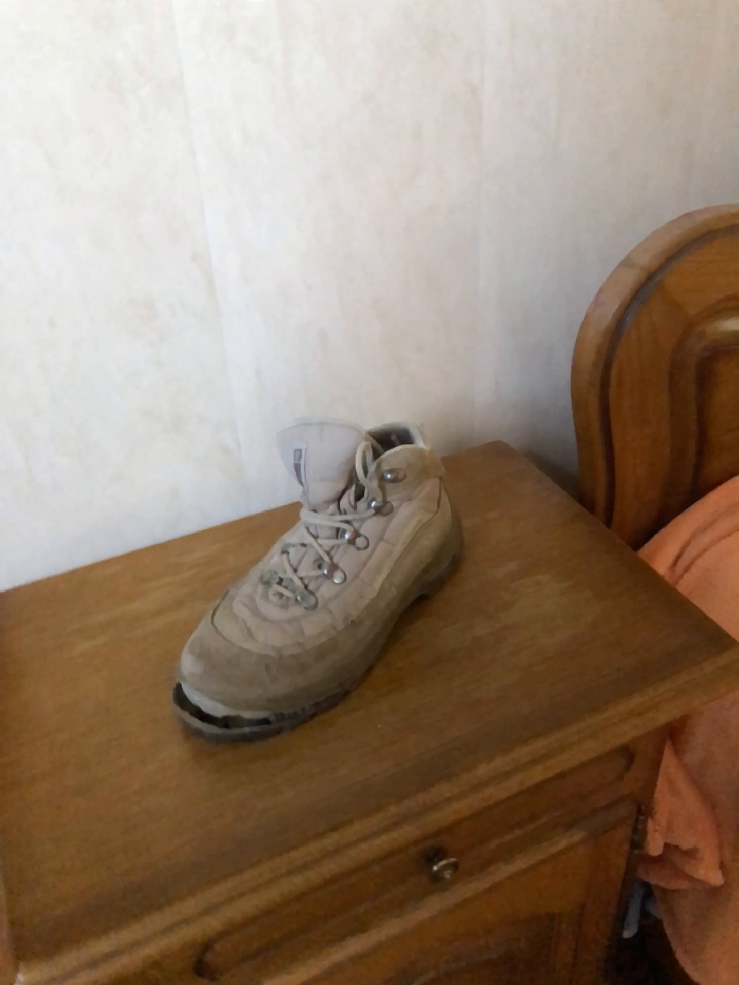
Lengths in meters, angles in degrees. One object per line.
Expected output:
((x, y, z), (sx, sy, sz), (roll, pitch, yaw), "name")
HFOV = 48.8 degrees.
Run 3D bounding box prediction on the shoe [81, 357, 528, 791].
((-0.025, 0.034, 0.576), (0.130, 0.139, 0.292), (23, 41, 34), "shoe")
